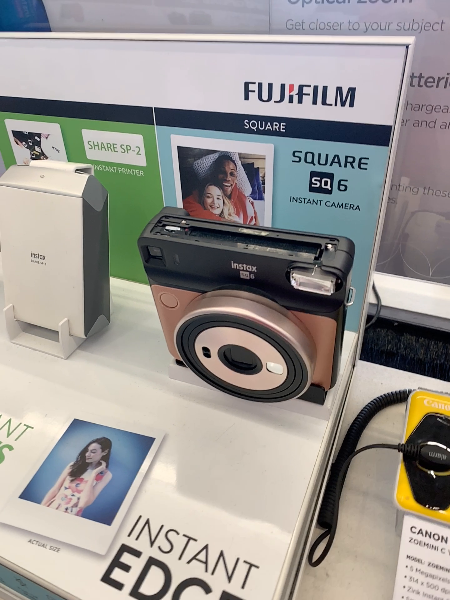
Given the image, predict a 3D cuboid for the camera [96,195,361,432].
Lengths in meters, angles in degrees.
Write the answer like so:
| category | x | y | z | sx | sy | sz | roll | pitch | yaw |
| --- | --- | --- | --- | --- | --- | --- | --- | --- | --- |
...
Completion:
| category | x | y | z | sx | sy | sz | roll | pitch | yaw |
| --- | --- | --- | --- | --- | --- | --- | --- | --- | --- |
| camera | 0.007 | 0.009 | 0.289 | 0.130 | 0.119 | 0.061 | 11 | 47 | 17 |
